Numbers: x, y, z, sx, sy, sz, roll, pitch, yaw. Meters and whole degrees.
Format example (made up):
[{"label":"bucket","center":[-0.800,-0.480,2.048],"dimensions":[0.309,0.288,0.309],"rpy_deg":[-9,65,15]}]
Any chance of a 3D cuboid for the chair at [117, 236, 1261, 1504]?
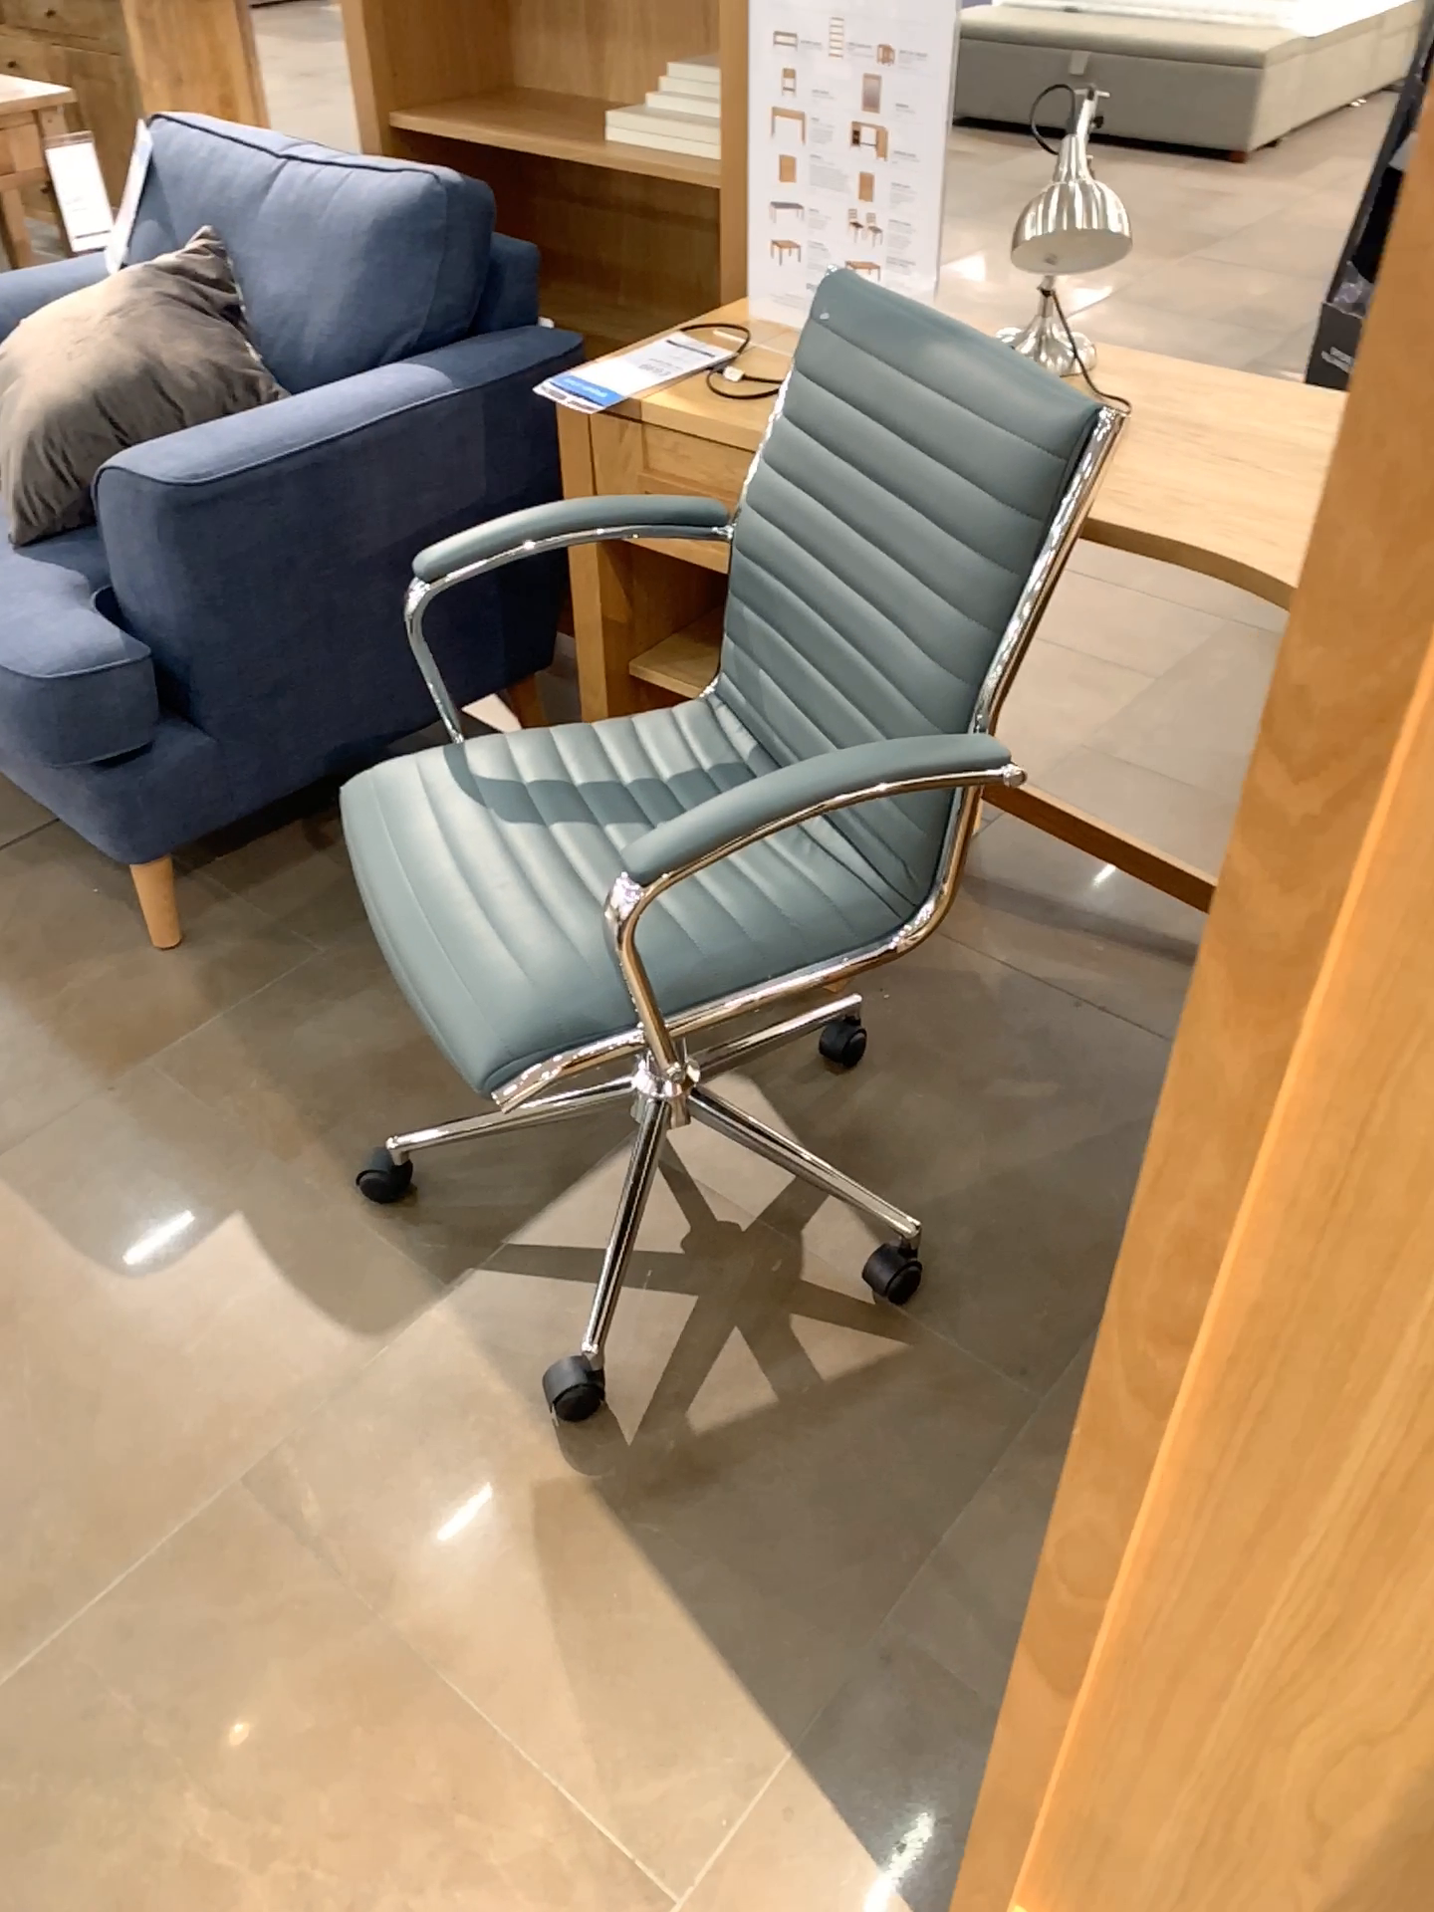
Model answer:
[{"label":"chair","center":[-0.069,-0.115,1.442],"dimensions":[0.708,0.883,0.669],"rpy_deg":[-16,42,-18]}]
